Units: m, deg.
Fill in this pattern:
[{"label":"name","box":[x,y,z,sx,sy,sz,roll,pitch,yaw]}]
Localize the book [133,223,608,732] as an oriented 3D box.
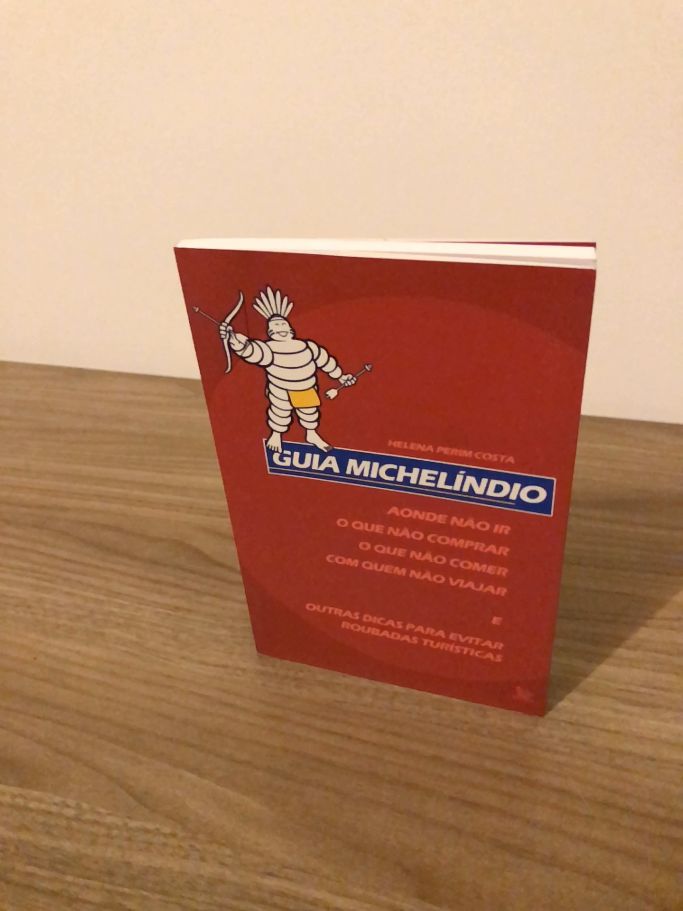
[{"label":"book","box":[0.014,0.020,0.300,0.150,0.218,0.020,6,37,17]}]
